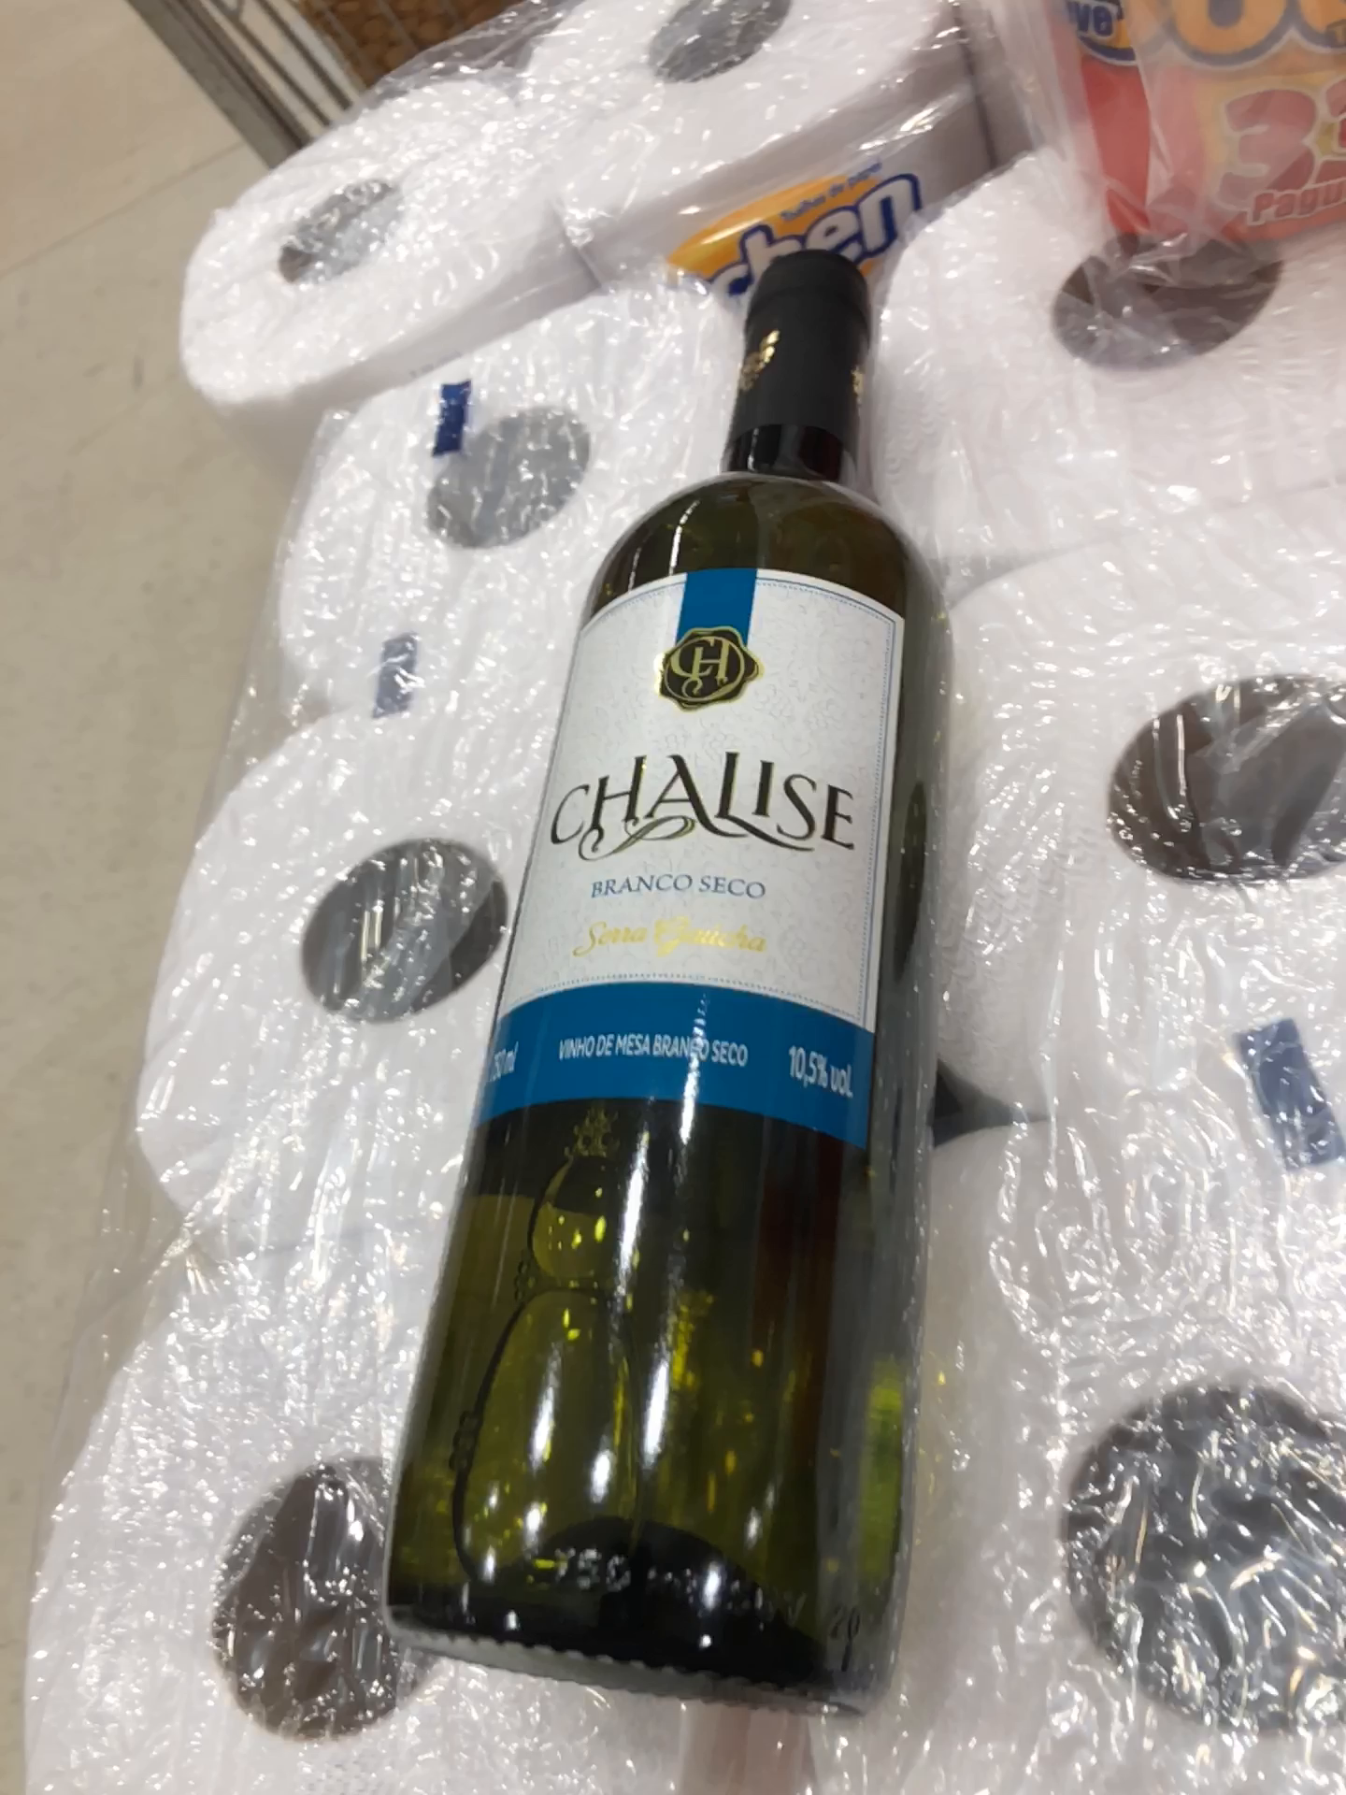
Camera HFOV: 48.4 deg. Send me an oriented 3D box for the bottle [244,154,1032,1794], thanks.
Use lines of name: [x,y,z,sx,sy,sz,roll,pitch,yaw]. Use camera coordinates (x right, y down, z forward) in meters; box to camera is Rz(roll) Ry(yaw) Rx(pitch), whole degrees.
bottle: [0.016,-0.011,0.254,0.080,0.060,0.281,2,59,13]
